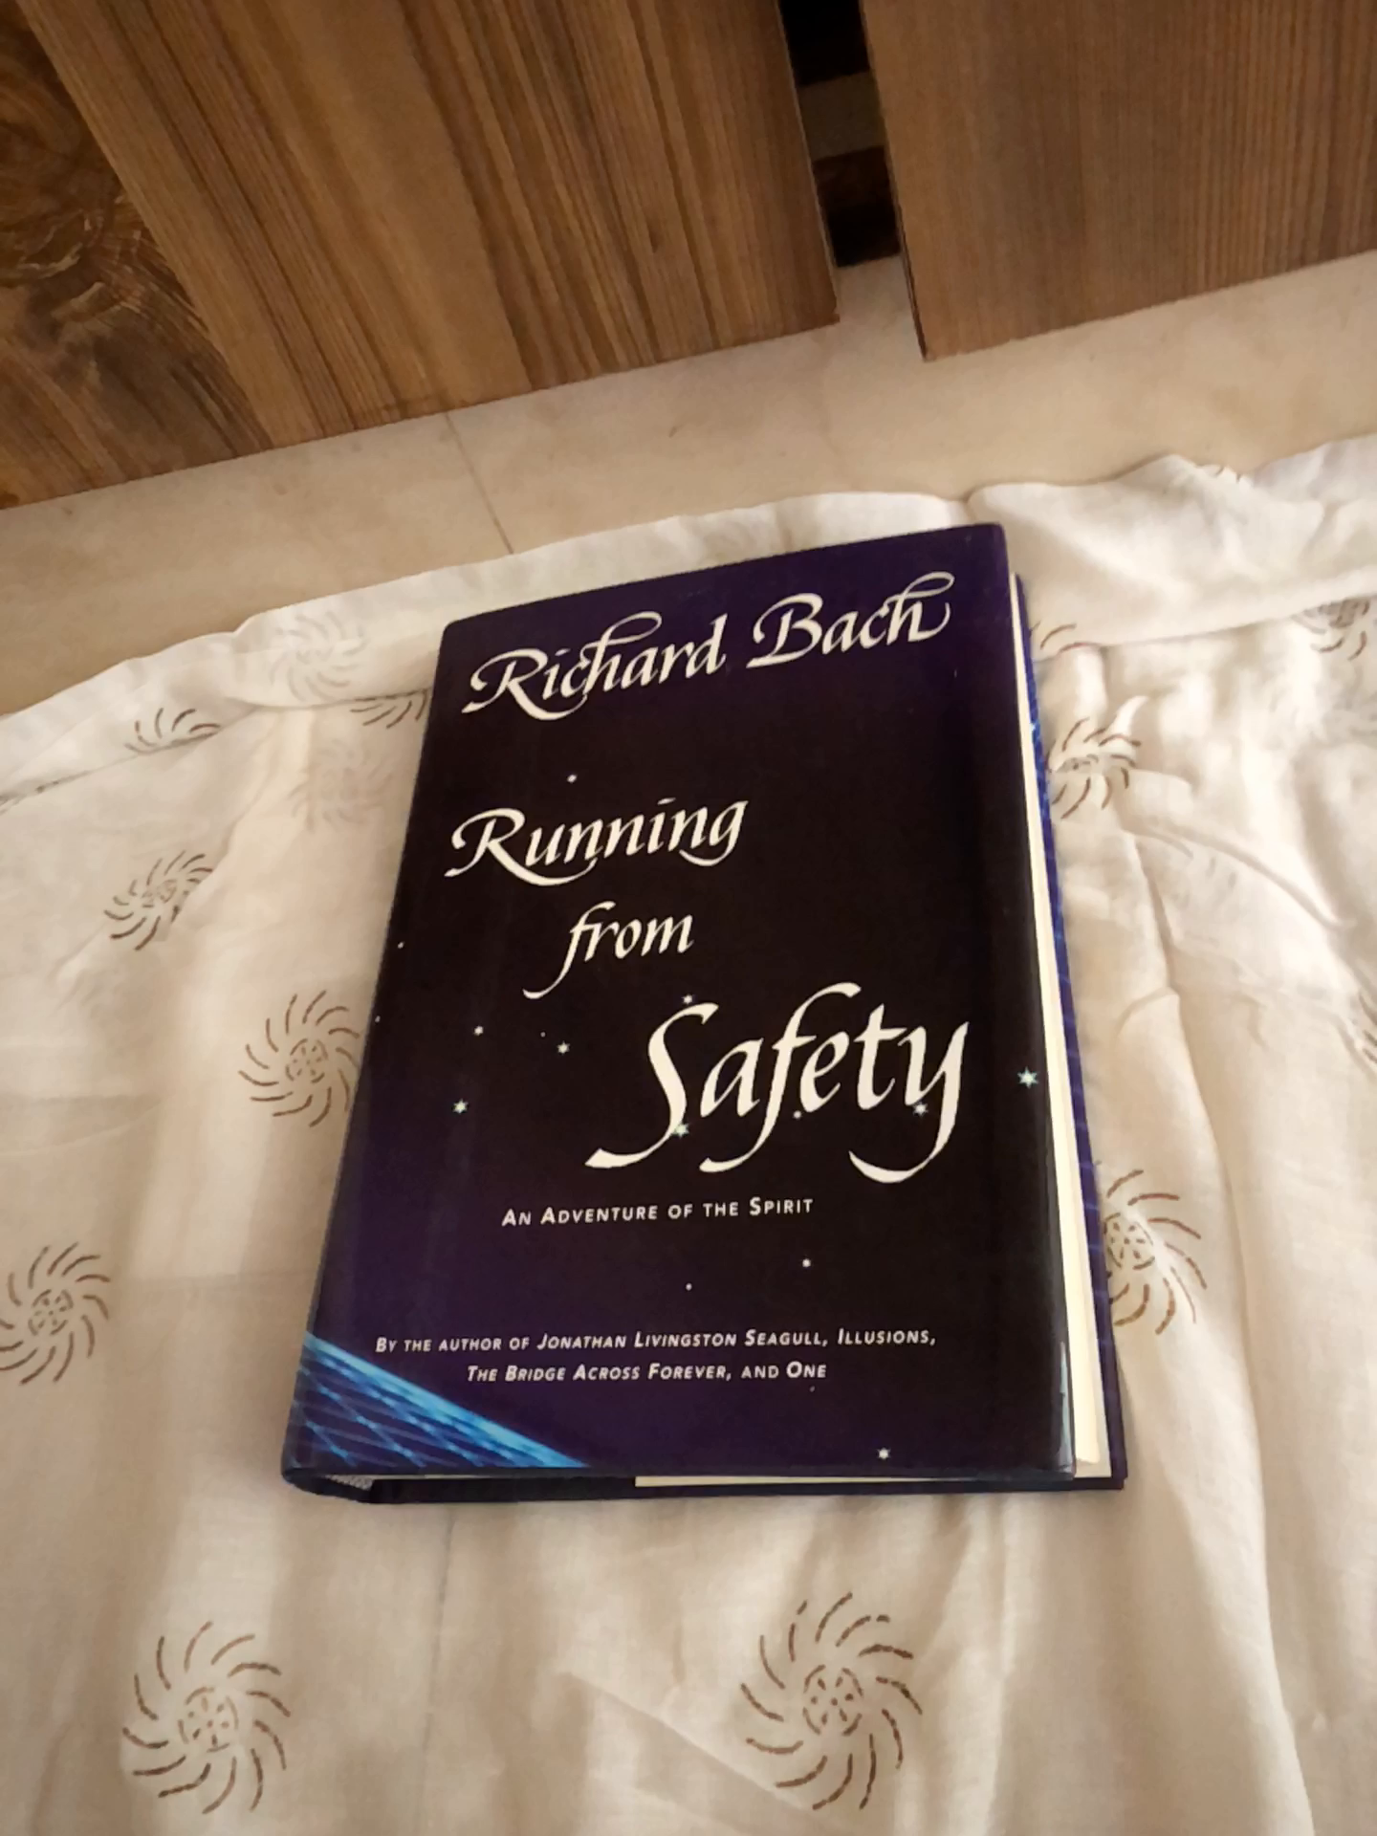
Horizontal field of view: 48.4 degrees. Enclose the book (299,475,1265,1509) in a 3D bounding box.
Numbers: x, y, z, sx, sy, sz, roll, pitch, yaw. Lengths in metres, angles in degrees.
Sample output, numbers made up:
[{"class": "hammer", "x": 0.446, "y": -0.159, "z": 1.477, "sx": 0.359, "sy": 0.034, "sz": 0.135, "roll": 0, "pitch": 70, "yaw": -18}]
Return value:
[{"class": "book", "x": 0.020, "y": 0.003, "z": 0.357, "sx": 0.170, "sy": 0.040, "sz": 0.250, "roll": -4, "pitch": 54, "yaw": 9}]
